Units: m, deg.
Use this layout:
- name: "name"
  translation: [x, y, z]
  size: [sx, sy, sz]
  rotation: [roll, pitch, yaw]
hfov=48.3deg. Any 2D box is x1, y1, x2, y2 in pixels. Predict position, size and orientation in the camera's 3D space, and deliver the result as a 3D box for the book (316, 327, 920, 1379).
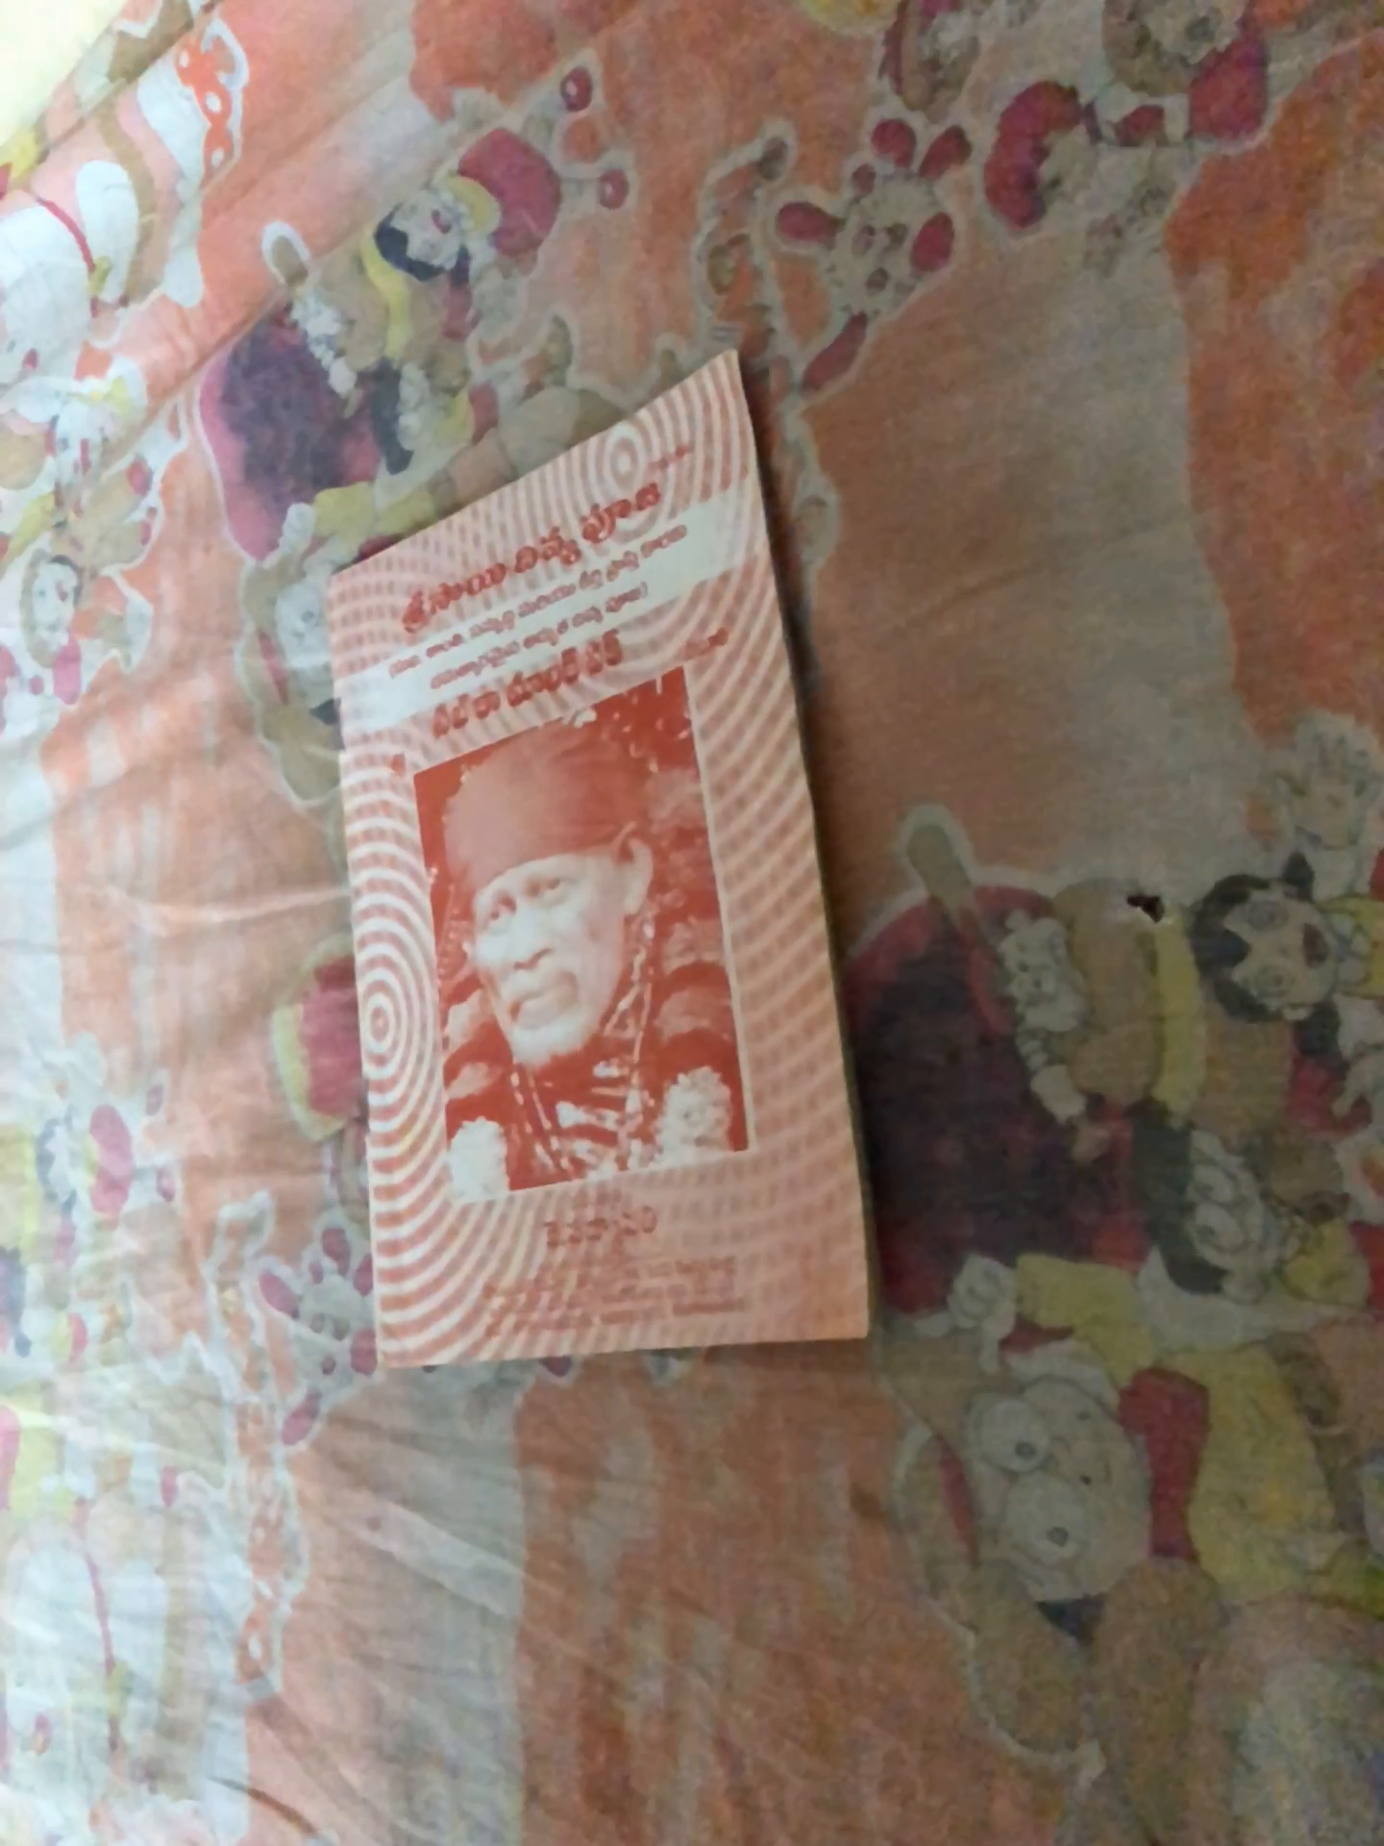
- name: "book"
  translation: [-0.024, -0.006, 0.289]
  size: [0.121, 0.010, 0.173]
  rotation: [-15, 75, 36]
